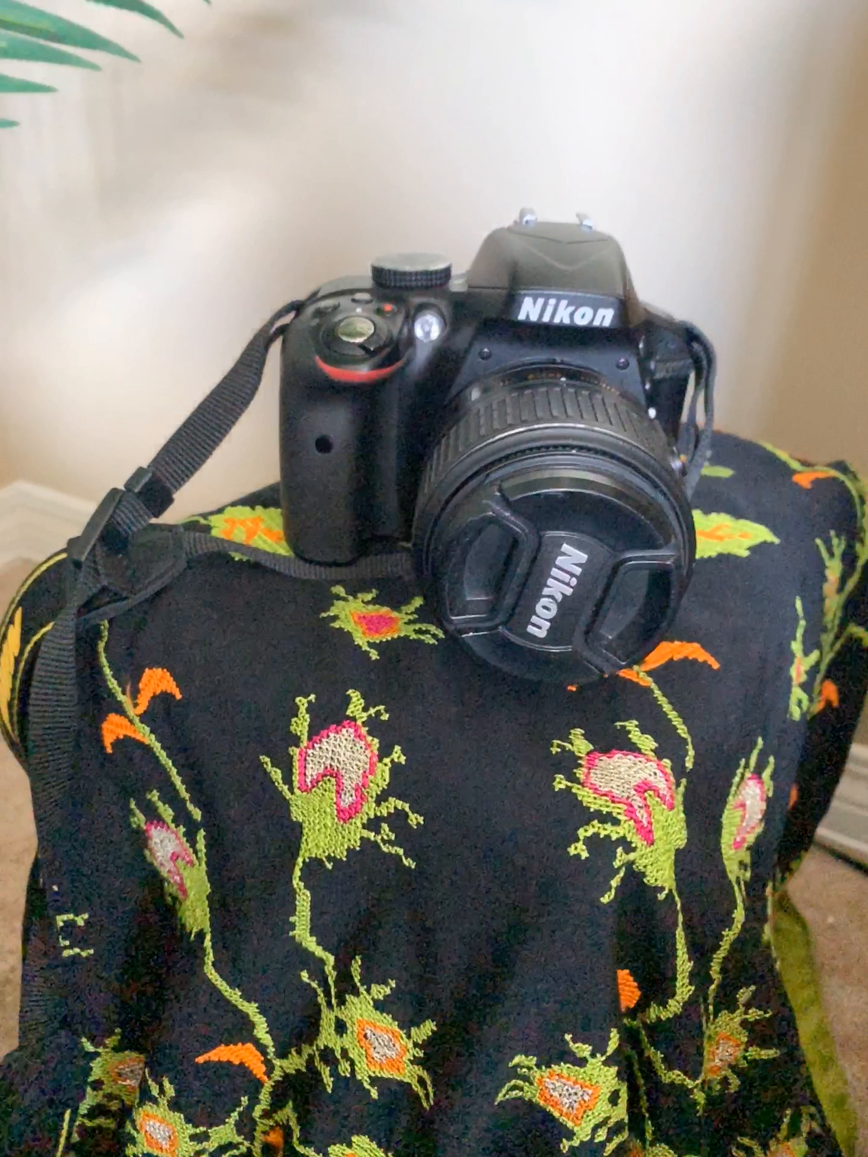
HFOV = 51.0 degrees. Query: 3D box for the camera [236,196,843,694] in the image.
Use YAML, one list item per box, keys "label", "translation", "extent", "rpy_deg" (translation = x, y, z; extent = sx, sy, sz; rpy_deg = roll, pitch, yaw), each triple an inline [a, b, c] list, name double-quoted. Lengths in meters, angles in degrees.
- label: "camera"
  translation: [0.018, -0.039, 0.242]
  extent: [0.120, 0.099, 0.091]
  rpy_deg: [3, 29, -2]
